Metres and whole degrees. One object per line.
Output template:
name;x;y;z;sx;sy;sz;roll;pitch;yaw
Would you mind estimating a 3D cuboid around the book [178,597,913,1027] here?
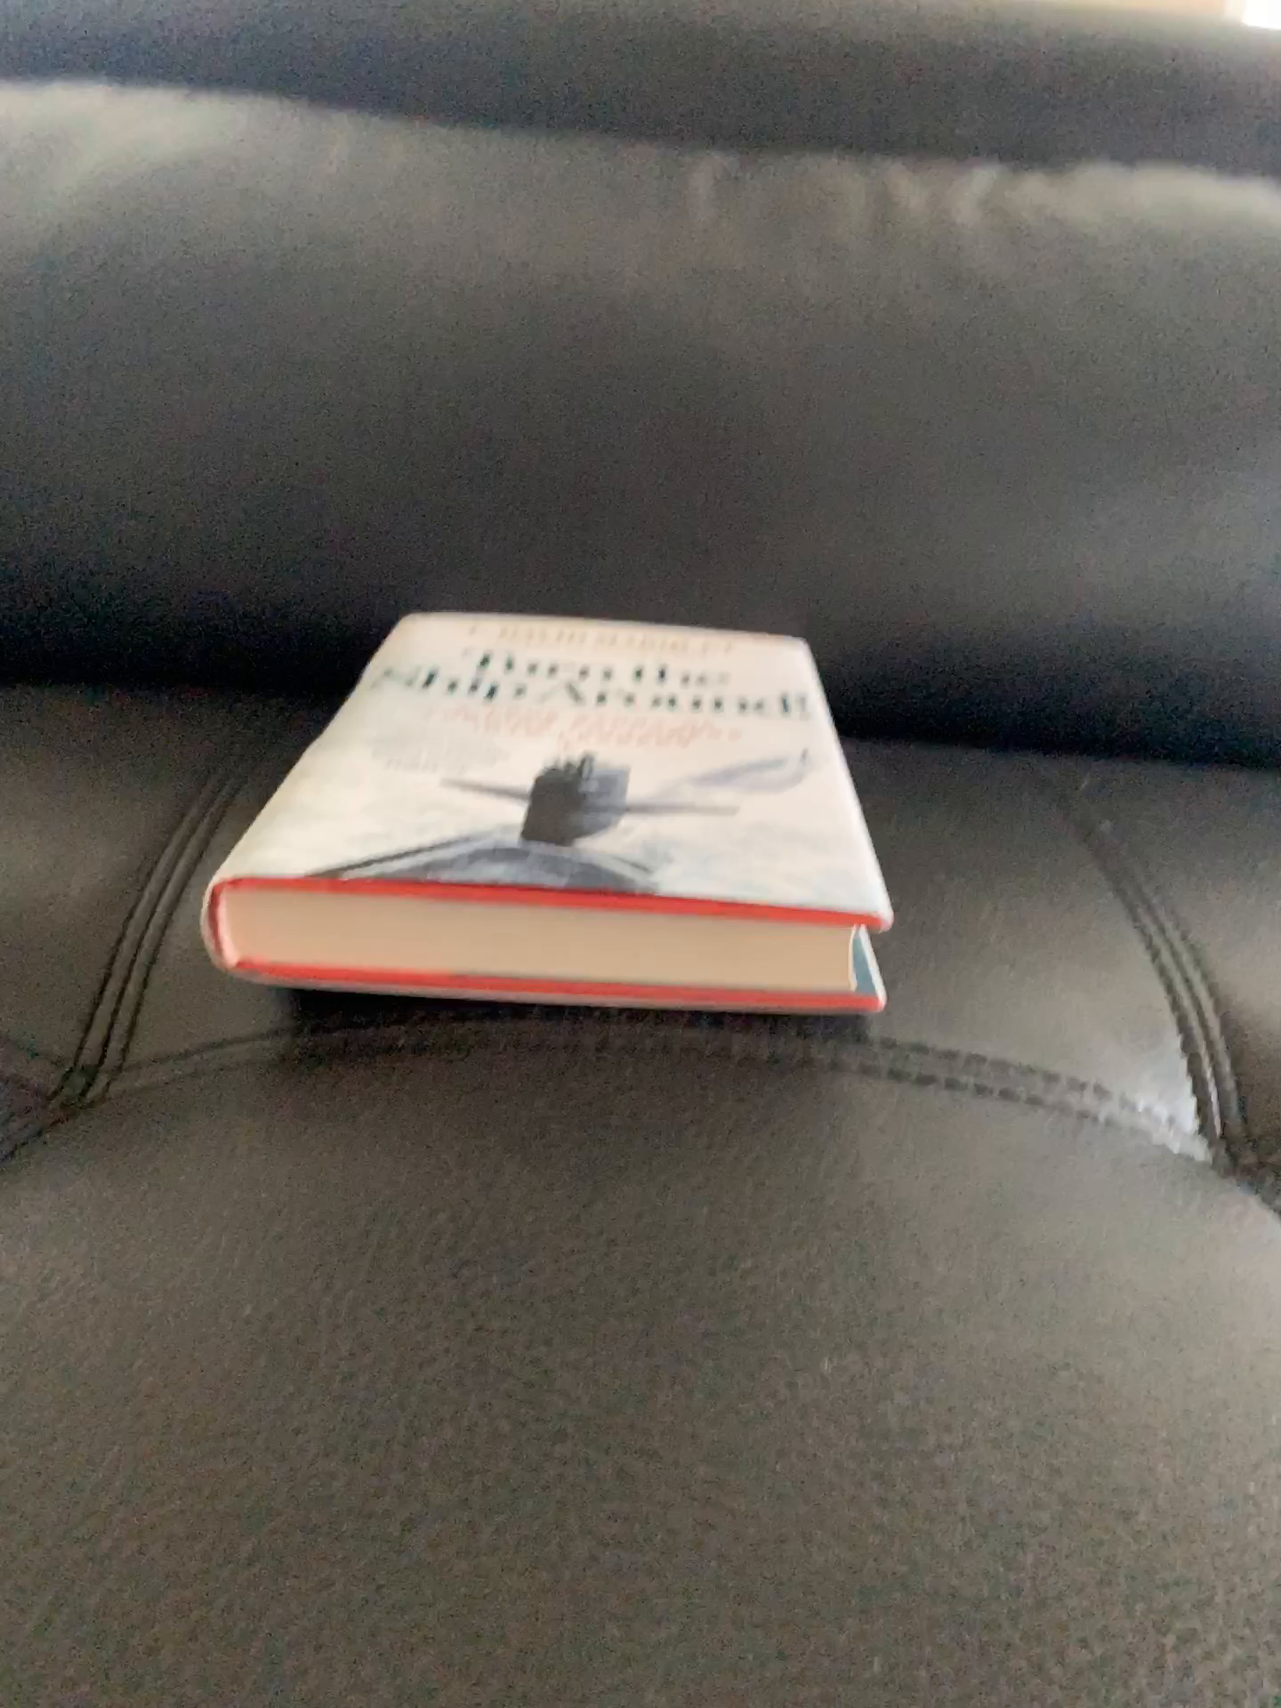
book;-0.018;-0.028;0.385;0.152;0.029;0.227;4;24;0
